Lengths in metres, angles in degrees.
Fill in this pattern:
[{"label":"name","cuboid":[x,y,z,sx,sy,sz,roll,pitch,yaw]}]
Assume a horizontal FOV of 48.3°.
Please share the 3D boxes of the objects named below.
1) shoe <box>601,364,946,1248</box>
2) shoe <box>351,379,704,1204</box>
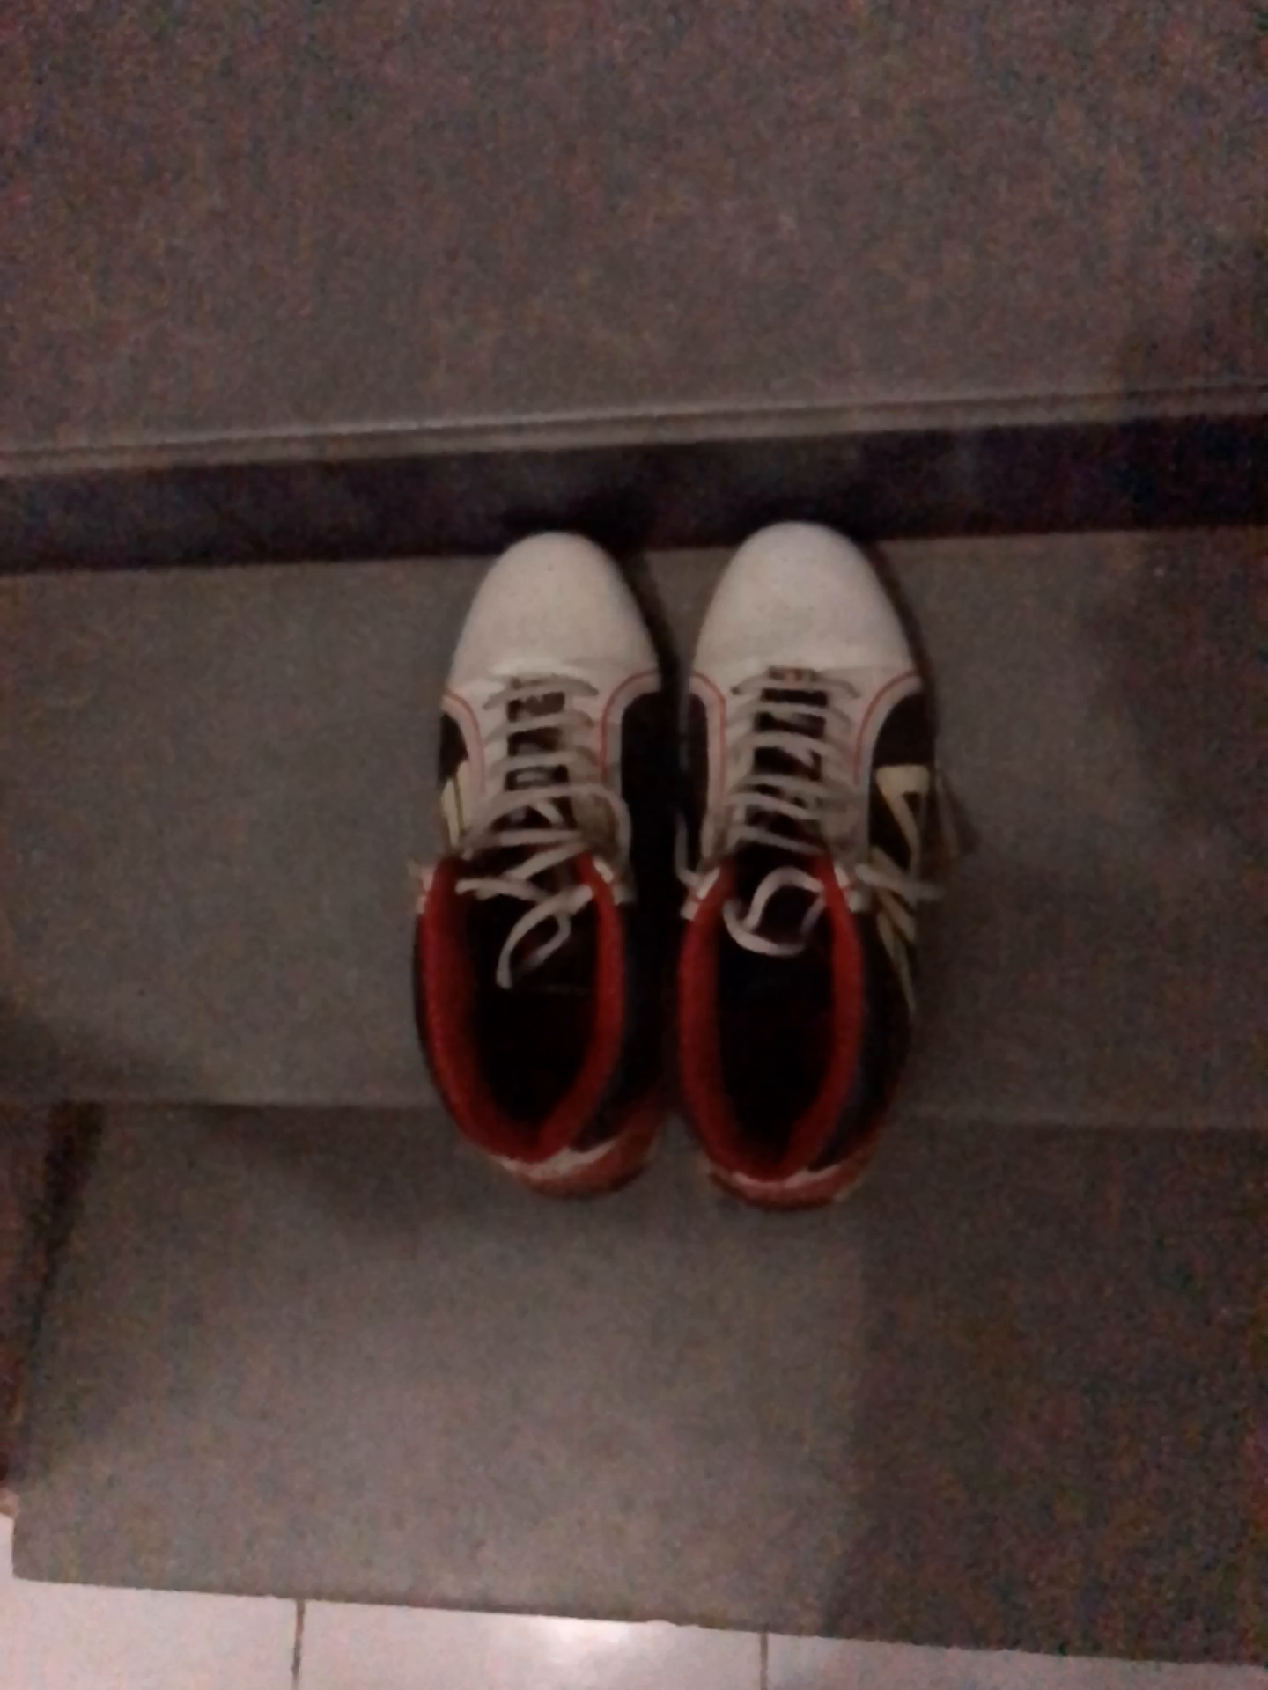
[{"label":"shoe","cuboid":[0.058,-0.013,0.535,0.110,0.100,0.310,0,77,9]},{"label":"shoe","cuboid":[-0.035,-0.014,0.578,0.110,0.120,0.310,-2,76,9]}]
